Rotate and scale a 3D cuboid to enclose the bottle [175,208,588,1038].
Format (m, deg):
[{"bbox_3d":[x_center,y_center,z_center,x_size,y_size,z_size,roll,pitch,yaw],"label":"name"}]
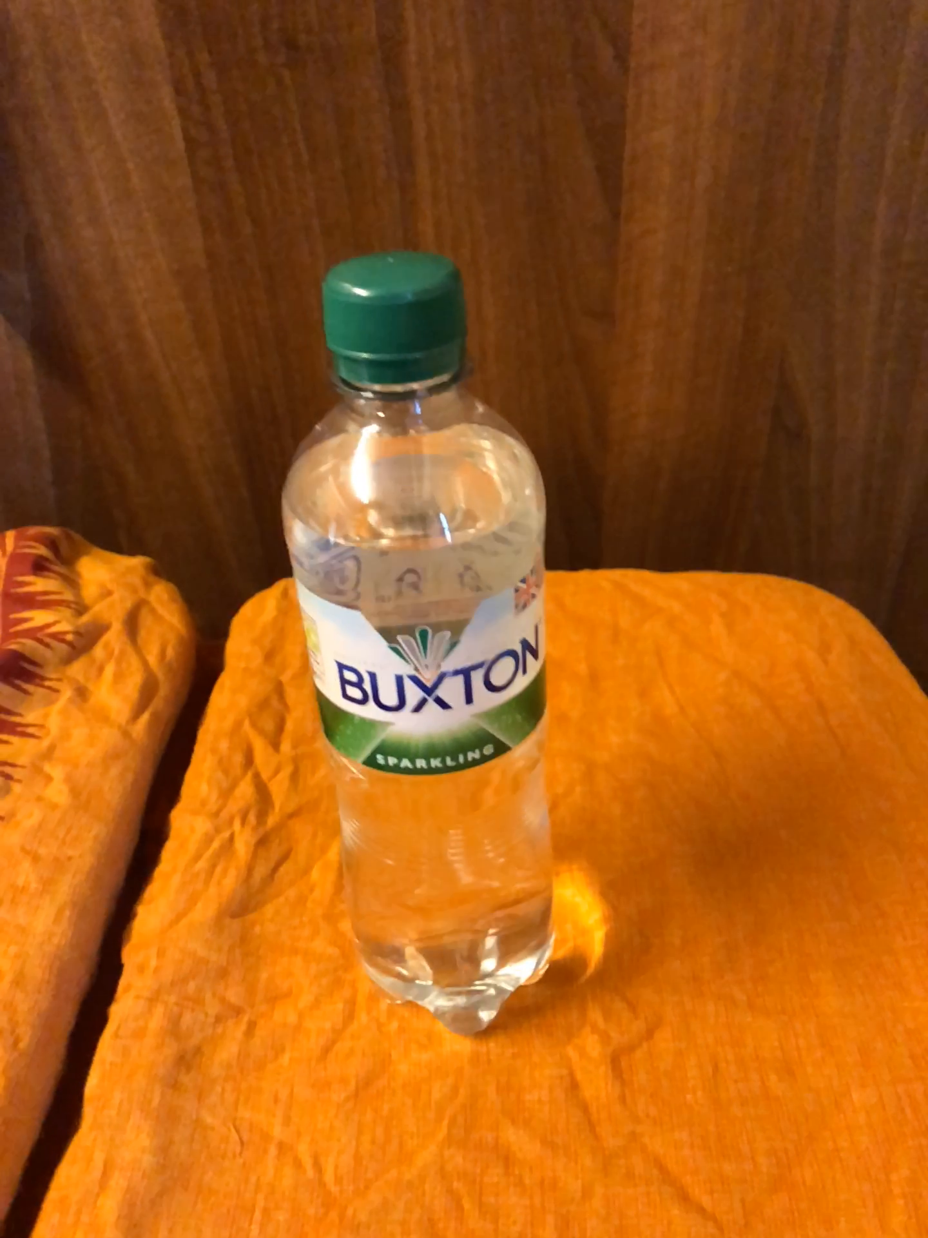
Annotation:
[{"bbox_3d":[-0.009,0.017,0.269,0.070,0.218,0.071,-1,38,1],"label":"bottle"}]
